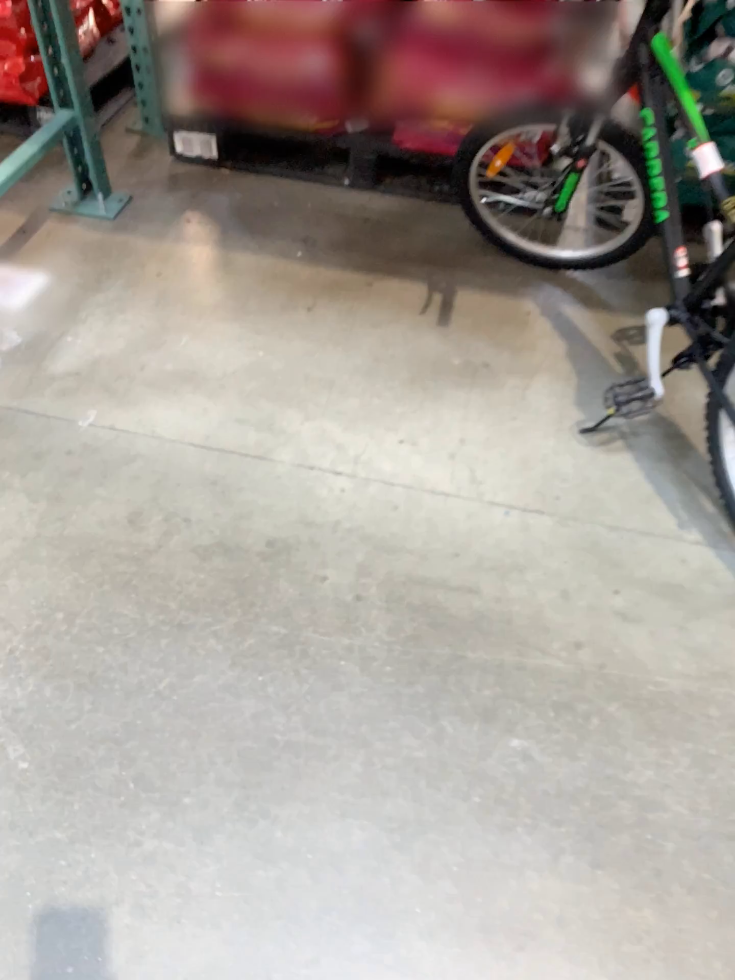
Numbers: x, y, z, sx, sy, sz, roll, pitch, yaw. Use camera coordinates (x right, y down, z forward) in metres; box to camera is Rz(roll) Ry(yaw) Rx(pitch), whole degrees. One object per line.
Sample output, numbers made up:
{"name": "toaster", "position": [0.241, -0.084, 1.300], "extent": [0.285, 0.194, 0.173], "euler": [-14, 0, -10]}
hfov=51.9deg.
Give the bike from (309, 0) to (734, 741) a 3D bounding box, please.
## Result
{"name": "bike", "position": [0.532, -0.417, 1.295], "extent": [0.707, 0.856, 1.311], "euler": [-19, 54, -18]}
